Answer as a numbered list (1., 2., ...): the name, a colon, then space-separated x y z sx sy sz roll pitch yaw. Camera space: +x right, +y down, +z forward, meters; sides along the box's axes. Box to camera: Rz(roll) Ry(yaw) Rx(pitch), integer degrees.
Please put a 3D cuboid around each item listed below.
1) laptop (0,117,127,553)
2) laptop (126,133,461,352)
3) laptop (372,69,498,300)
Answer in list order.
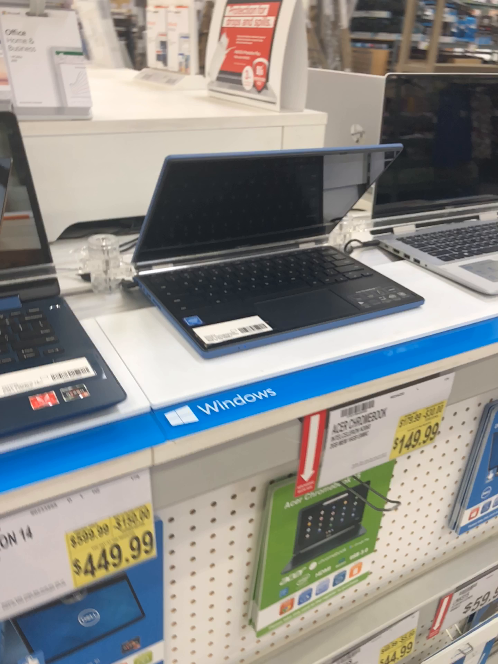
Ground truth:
1. laptop: -0.314 -0.067 0.464 0.305 0.169 0.369 -13 31 -28
2. laptop: 0.042 -0.121 0.621 0.293 0.159 0.195 -12 32 -27
3. laptop: 0.399 -0.239 0.797 0.341 0.218 0.256 -13 34 -25
